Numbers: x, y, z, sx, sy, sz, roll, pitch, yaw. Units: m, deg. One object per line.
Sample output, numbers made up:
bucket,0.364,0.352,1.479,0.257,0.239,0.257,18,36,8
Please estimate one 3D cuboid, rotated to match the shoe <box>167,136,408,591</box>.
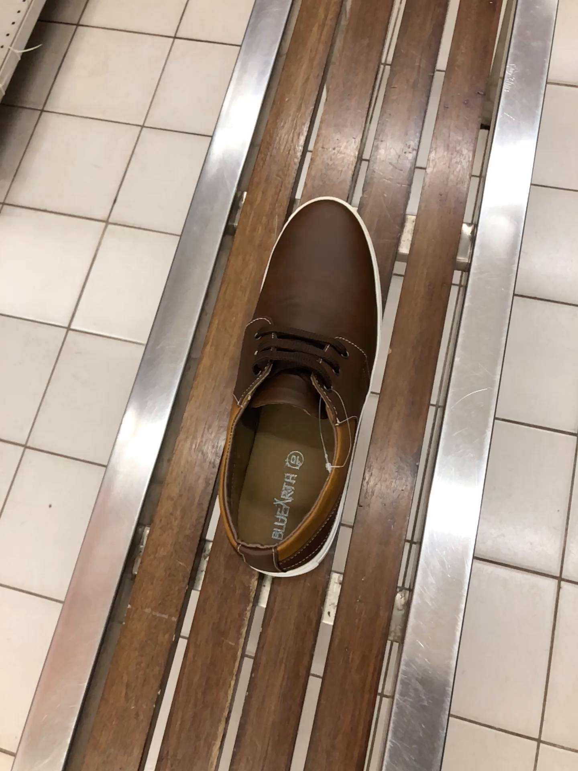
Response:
shoe,0.010,-0.021,0.466,0.100,0.080,0.311,10,74,9
